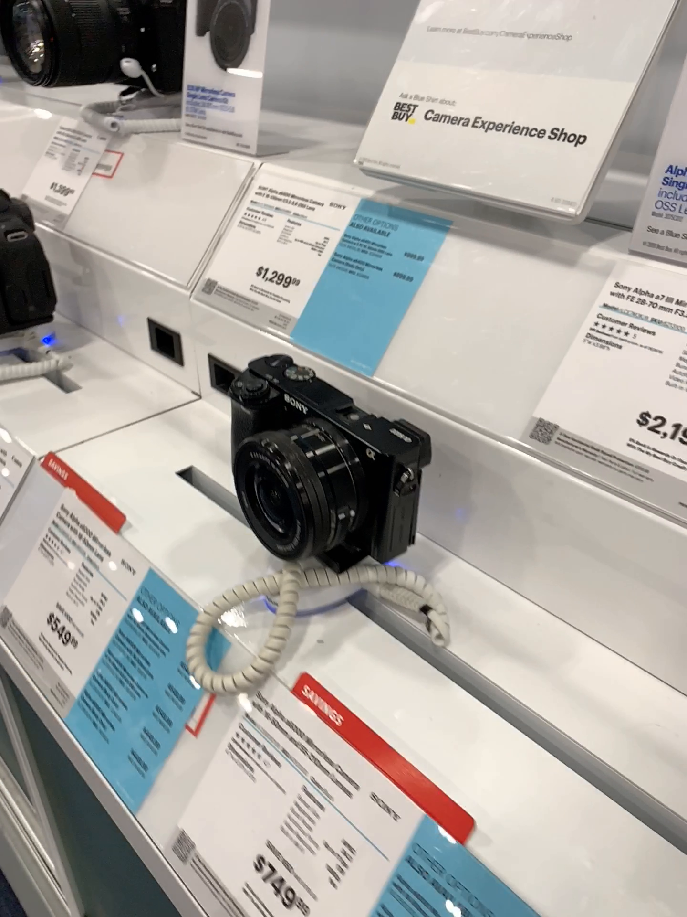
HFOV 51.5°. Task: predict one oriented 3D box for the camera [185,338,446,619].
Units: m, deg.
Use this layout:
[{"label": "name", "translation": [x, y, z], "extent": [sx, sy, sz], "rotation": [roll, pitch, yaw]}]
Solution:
[{"label": "camera", "translation": [-0.020, 0.003, 0.367], "extent": [0.060, 0.080, 0.130], "rotation": [-22, 39, -33]}]
